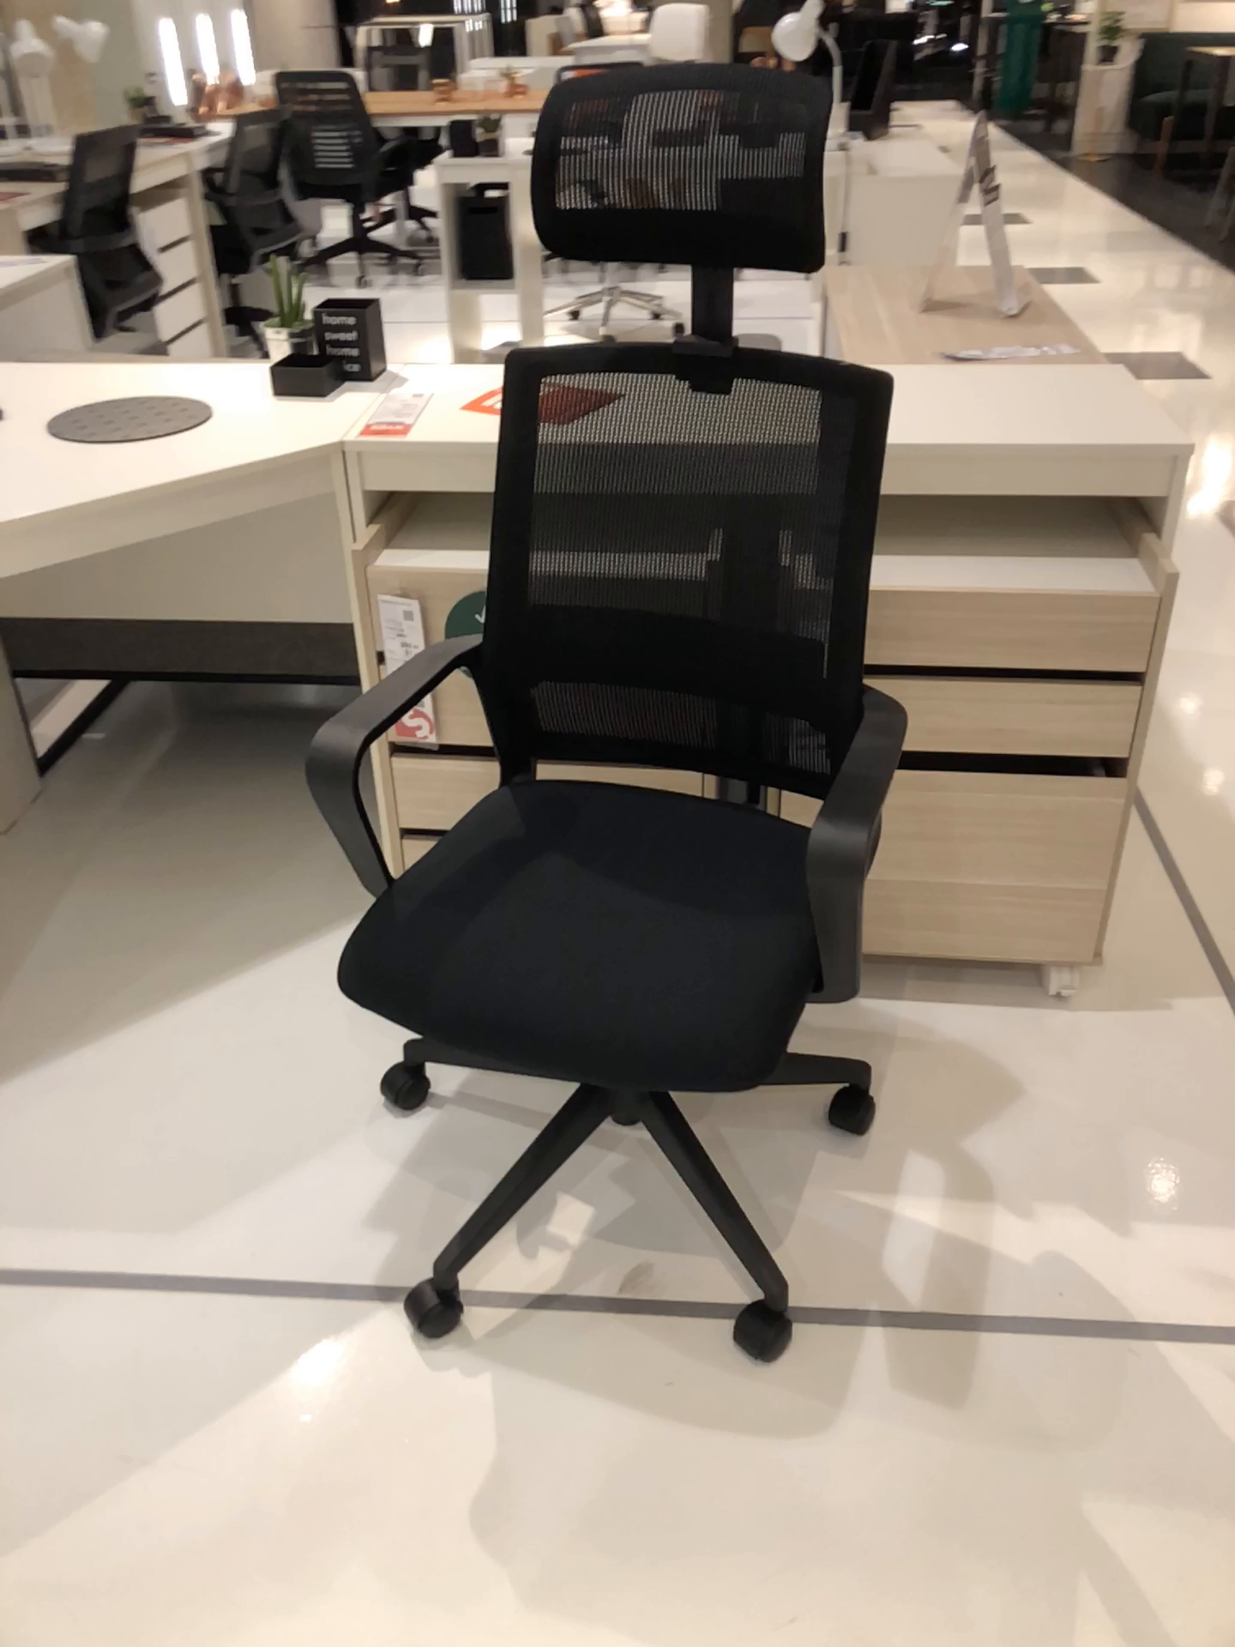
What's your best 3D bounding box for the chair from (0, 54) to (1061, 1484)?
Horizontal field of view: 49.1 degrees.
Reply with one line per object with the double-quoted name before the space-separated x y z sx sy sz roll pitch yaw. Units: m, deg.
"chair" -0.007 -0.083 1.328 0.660 1.131 0.665 9 33 17
